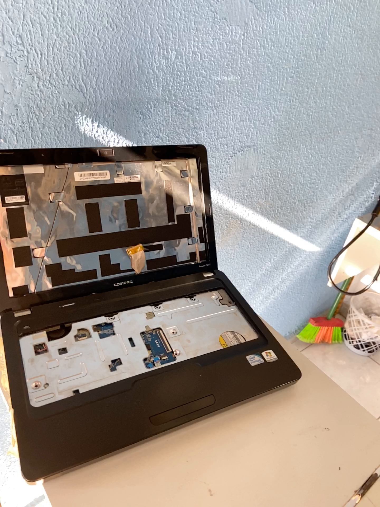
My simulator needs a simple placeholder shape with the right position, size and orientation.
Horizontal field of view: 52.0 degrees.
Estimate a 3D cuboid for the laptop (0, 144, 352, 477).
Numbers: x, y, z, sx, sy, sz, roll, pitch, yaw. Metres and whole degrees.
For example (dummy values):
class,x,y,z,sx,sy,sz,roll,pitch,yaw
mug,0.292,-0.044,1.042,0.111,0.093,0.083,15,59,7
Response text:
class,x,y,z,sx,sy,sz,roll,pitch,yaw
laptop,-0.058,0.015,0.513,0.332,0.182,0.337,-10,39,-25
